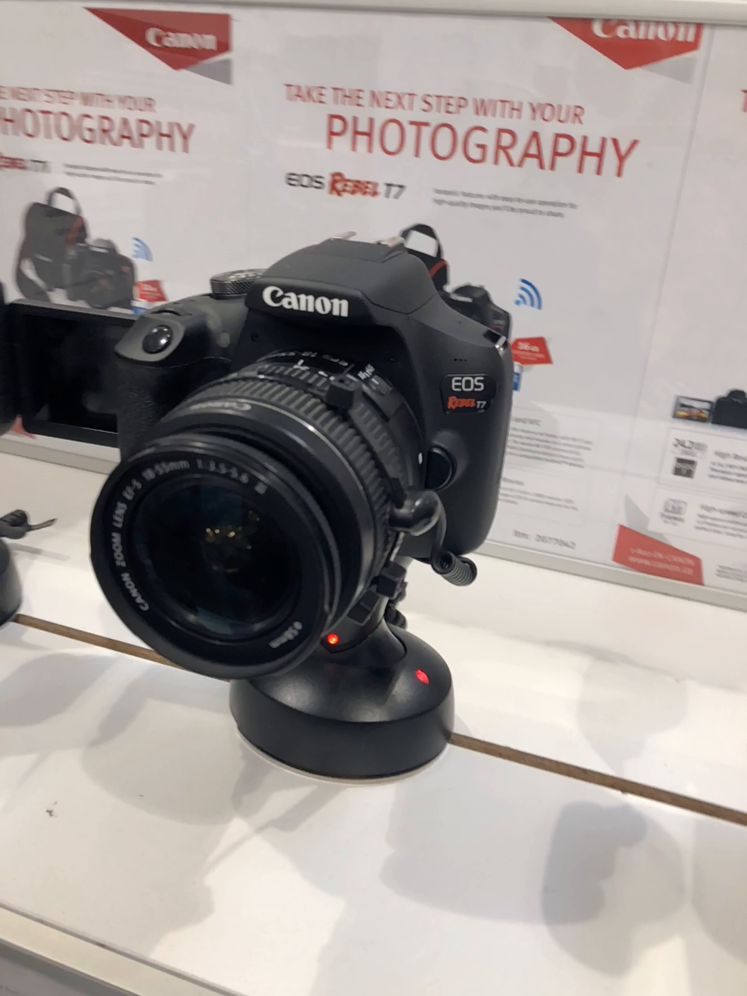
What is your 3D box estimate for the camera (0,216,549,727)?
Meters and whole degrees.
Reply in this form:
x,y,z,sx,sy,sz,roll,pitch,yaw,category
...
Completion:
x,y,z,sx,sy,sz,roll,pitch,yaw,category
-0.025,-0.023,0.255,0.130,0.099,0.121,11,26,14,camera
